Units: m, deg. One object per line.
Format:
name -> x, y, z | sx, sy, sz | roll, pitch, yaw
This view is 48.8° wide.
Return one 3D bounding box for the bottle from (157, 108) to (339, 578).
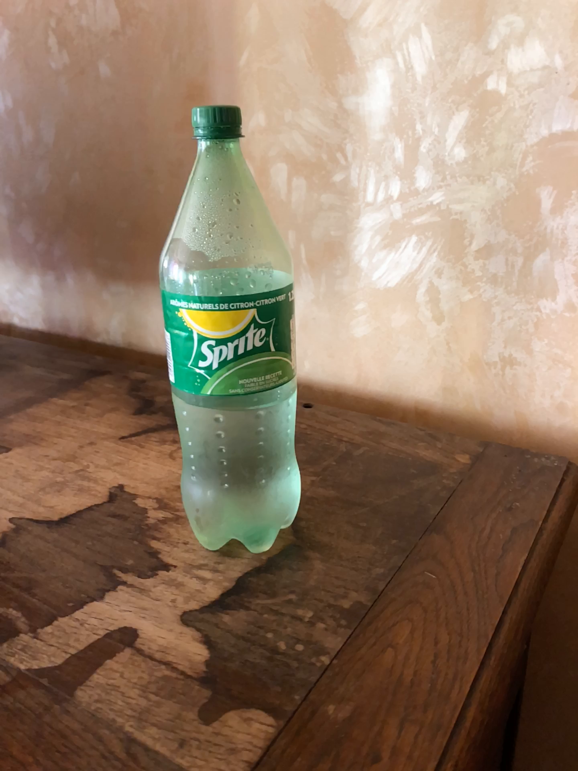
bottle -> -0.027, -0.026, 0.413 | 0.090, 0.279, 0.090 | 0, 21, 0
